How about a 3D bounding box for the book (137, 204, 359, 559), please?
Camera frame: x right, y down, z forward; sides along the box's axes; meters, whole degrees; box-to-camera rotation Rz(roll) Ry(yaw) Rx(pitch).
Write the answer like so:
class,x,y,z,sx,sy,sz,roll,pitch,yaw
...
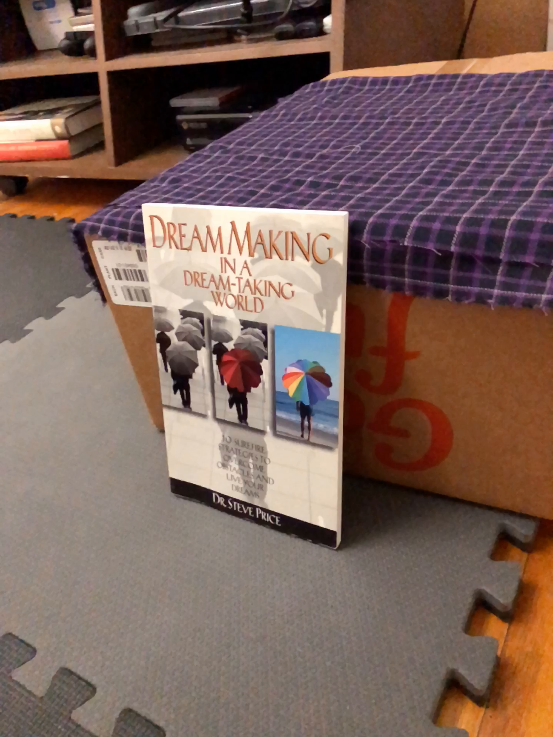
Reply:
class,x,y,z,sx,sy,sz,roll,pitch,yaw
book,-0.019,0.006,0.407,0.150,0.219,0.020,11,24,31
